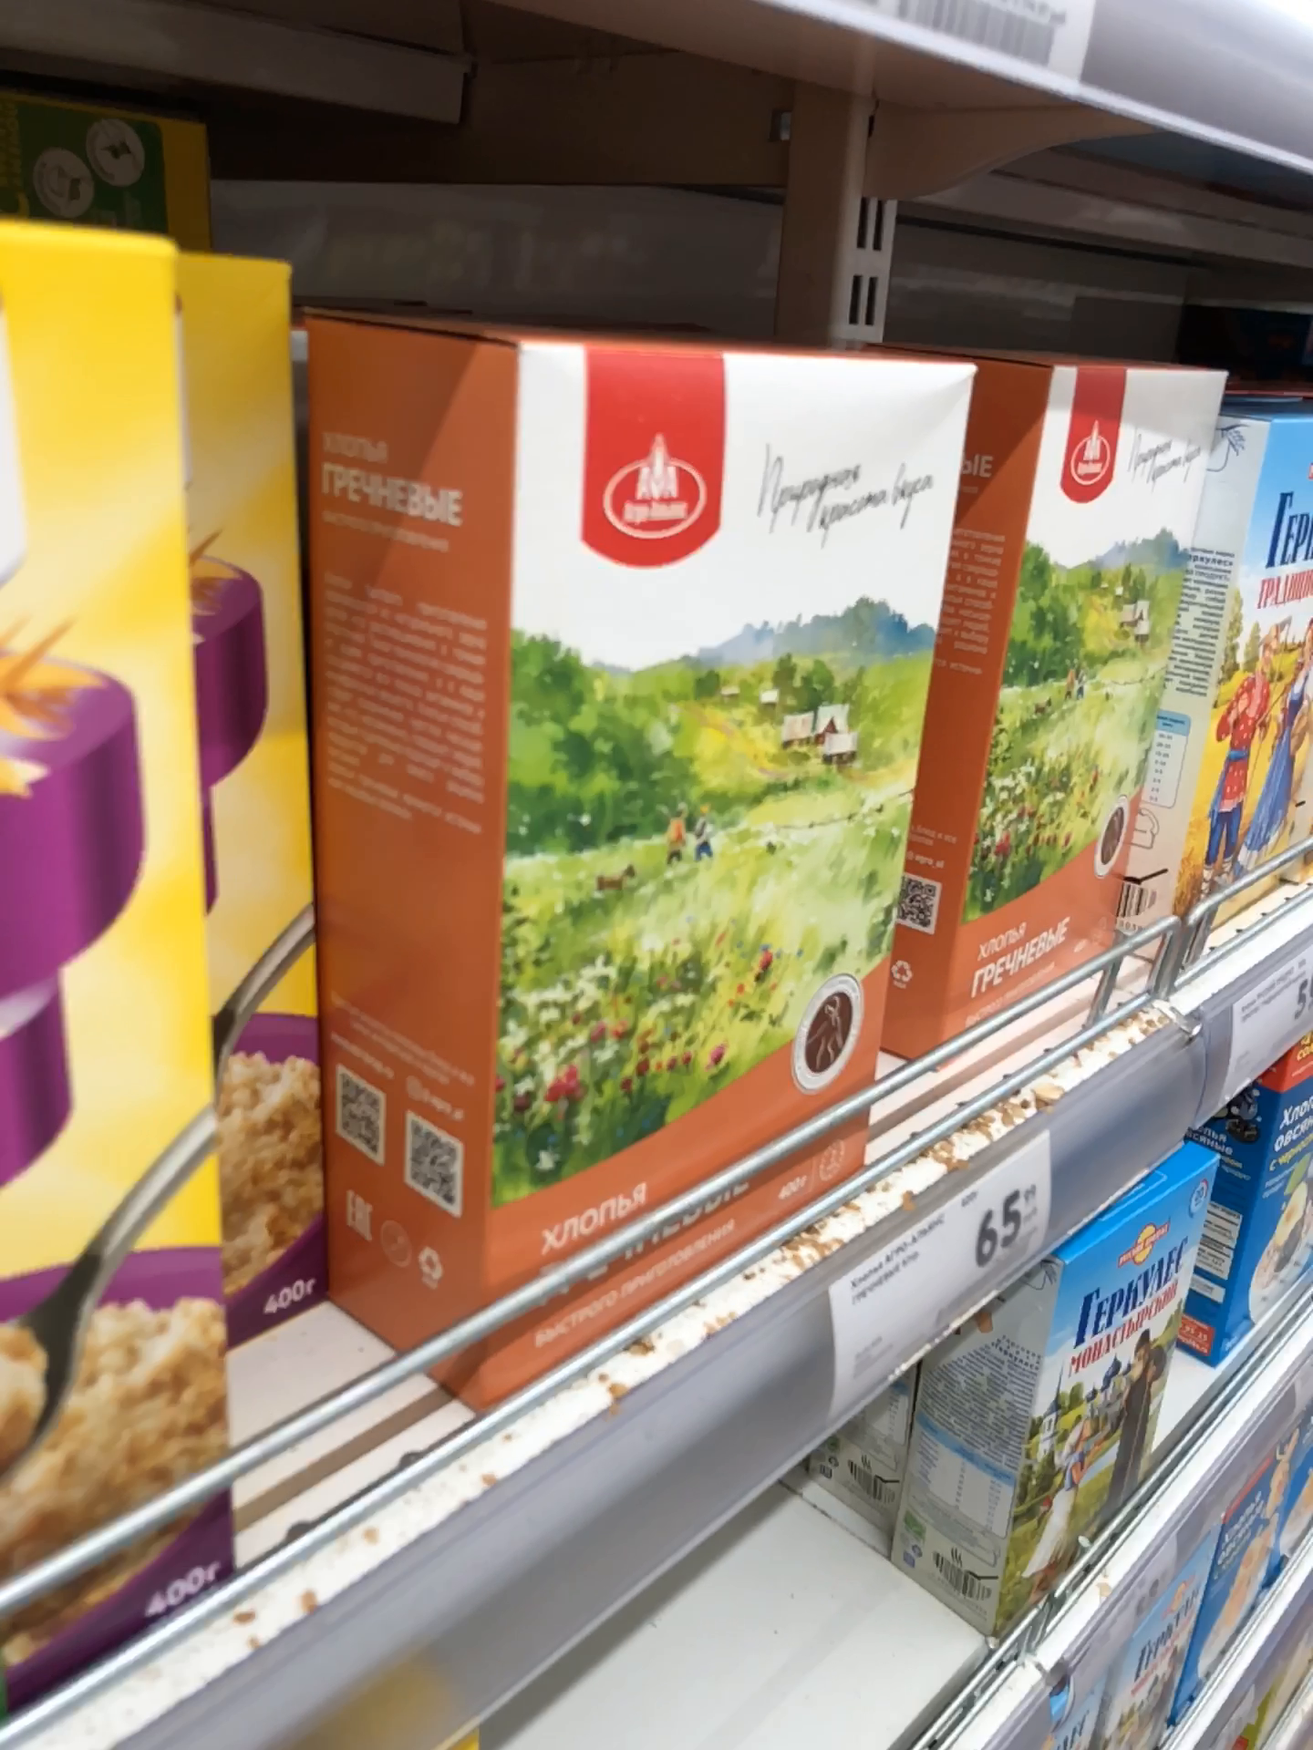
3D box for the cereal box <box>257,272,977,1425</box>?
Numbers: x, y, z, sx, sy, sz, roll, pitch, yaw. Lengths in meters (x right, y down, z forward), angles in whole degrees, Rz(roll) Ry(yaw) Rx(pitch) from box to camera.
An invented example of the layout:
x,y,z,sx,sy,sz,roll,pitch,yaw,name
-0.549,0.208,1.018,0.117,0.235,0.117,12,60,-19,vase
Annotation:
x,y,z,sx,sy,sz,roll,pitch,yaw,name
-0.005,-0.013,0.301,0.050,0.199,0.140,21,27,38,cereal box
